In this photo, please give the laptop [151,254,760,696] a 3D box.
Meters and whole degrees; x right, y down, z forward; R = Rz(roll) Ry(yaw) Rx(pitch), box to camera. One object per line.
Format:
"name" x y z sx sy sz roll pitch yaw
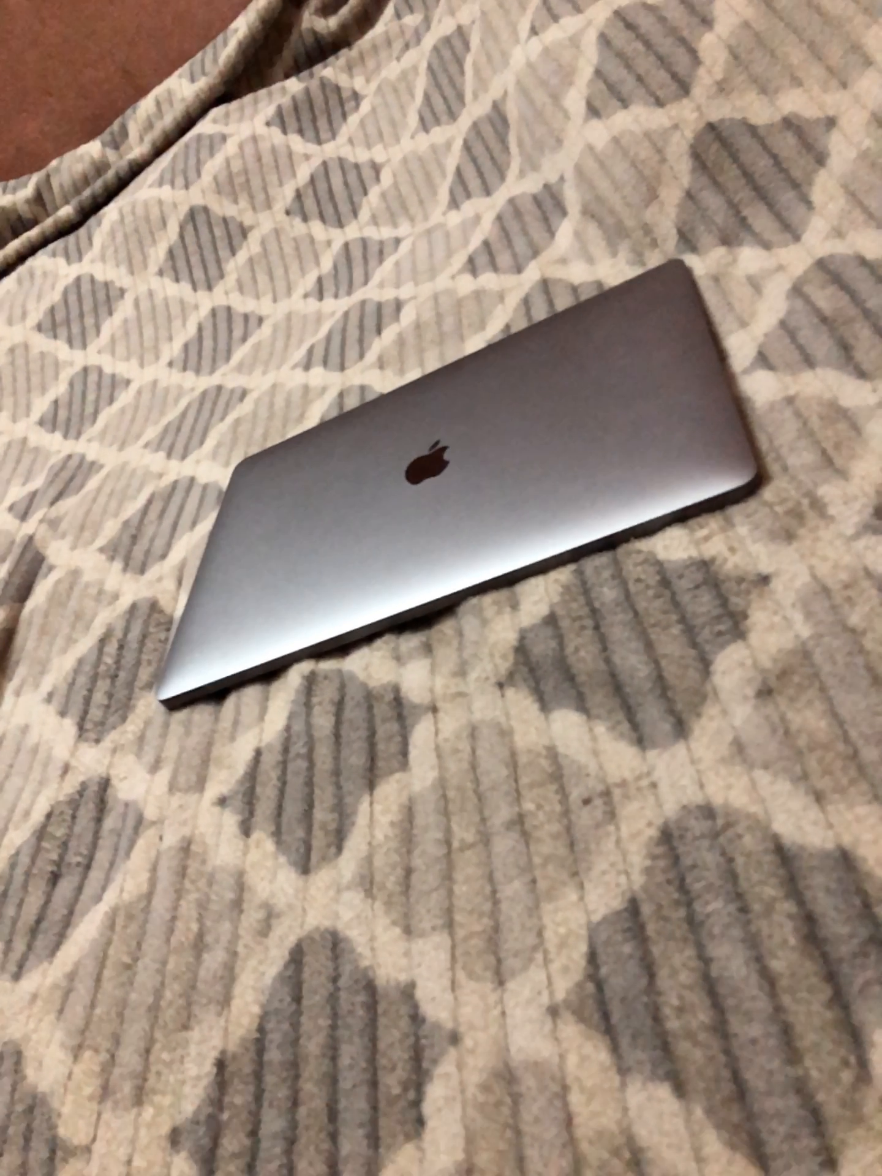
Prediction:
"laptop" -0.007 -0.076 0.600 0.358 0.007 0.247 -20 37 21
